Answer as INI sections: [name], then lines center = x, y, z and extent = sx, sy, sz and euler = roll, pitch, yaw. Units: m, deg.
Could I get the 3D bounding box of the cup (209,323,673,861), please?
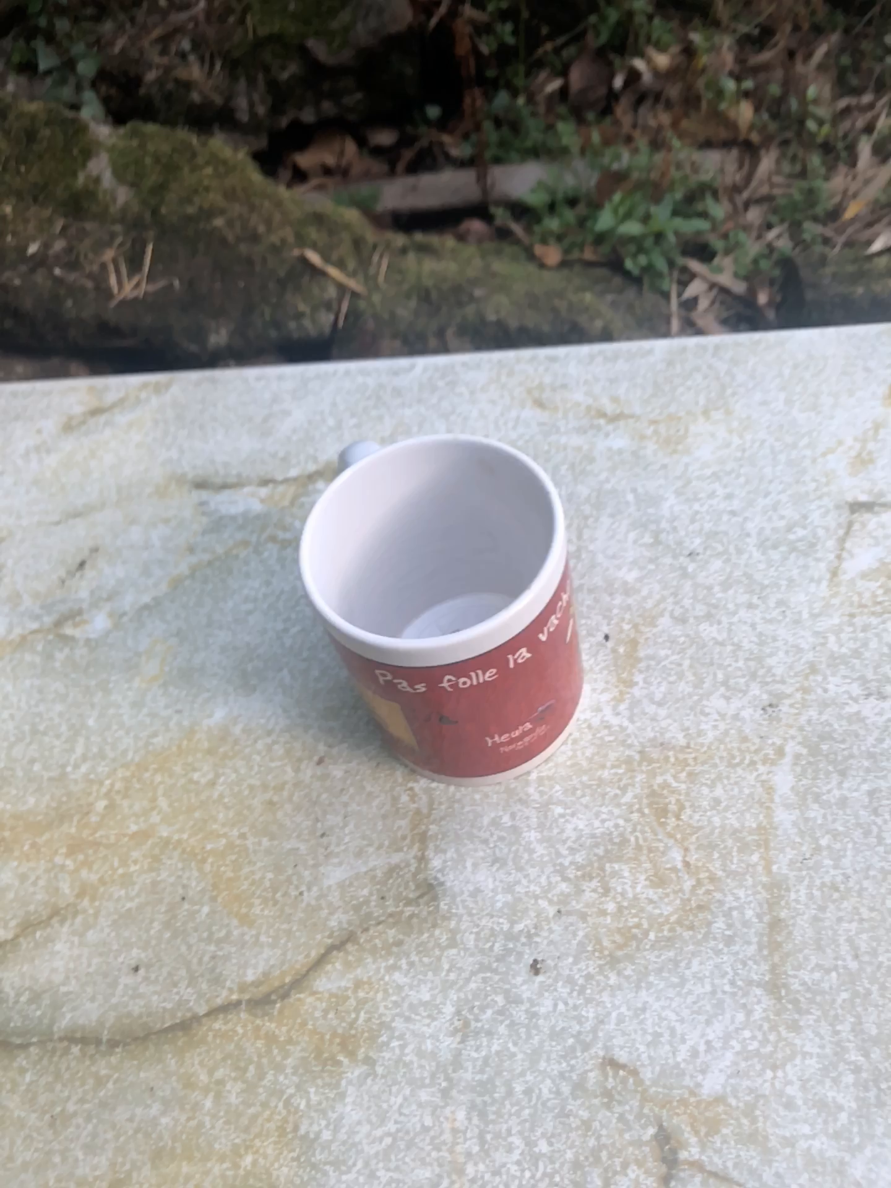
[cup]
center = -0.002, -0.003, 0.323
extent = 0.086, 0.083, 0.130
euler = -28, 56, -9
